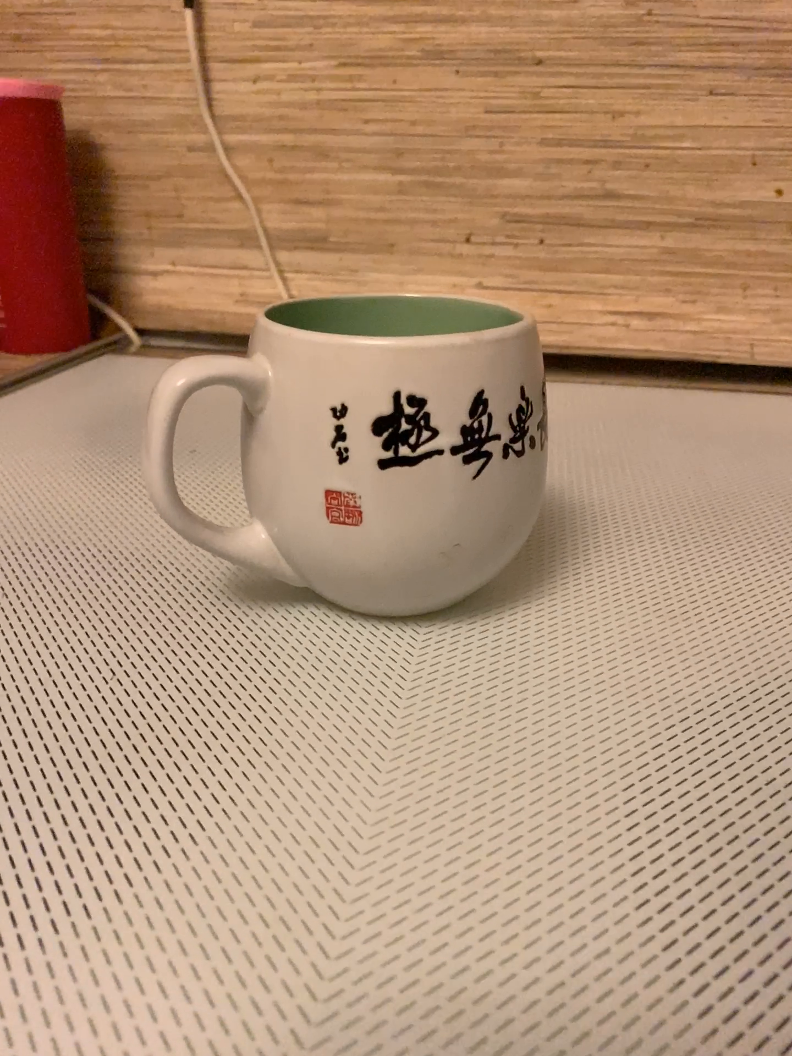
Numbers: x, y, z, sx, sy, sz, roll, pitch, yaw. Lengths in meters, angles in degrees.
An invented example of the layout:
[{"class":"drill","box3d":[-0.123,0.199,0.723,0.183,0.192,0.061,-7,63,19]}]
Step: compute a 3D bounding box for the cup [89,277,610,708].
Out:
[{"class":"cup","box3d":[-0.014,-0.024,0.258,0.124,0.091,0.088,-15,28,-34]}]
